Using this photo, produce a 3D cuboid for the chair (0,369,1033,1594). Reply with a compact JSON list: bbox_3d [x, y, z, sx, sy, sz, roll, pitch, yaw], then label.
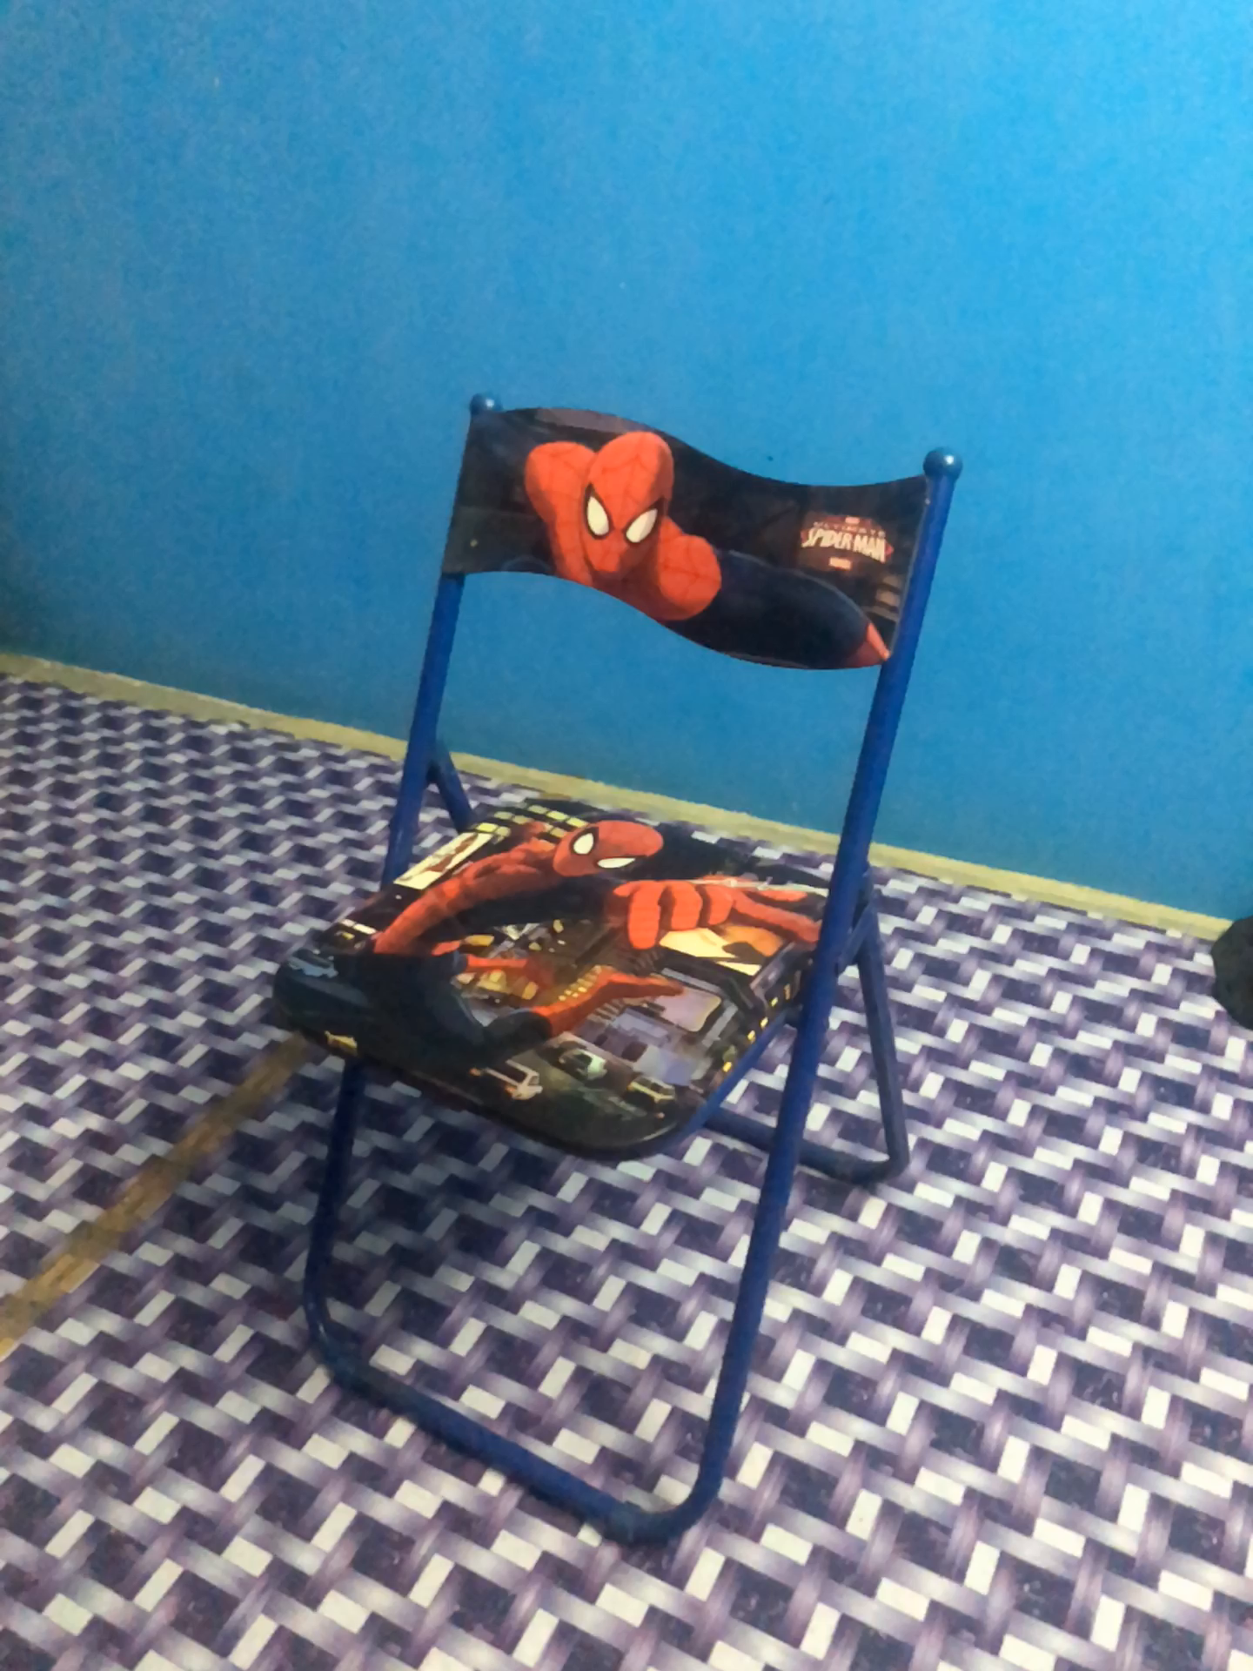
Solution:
[{"bbox_3d":[-0.044,0.061,1.125,0.510,0.686,0.563,16,37,26],"label":"chair"}]
